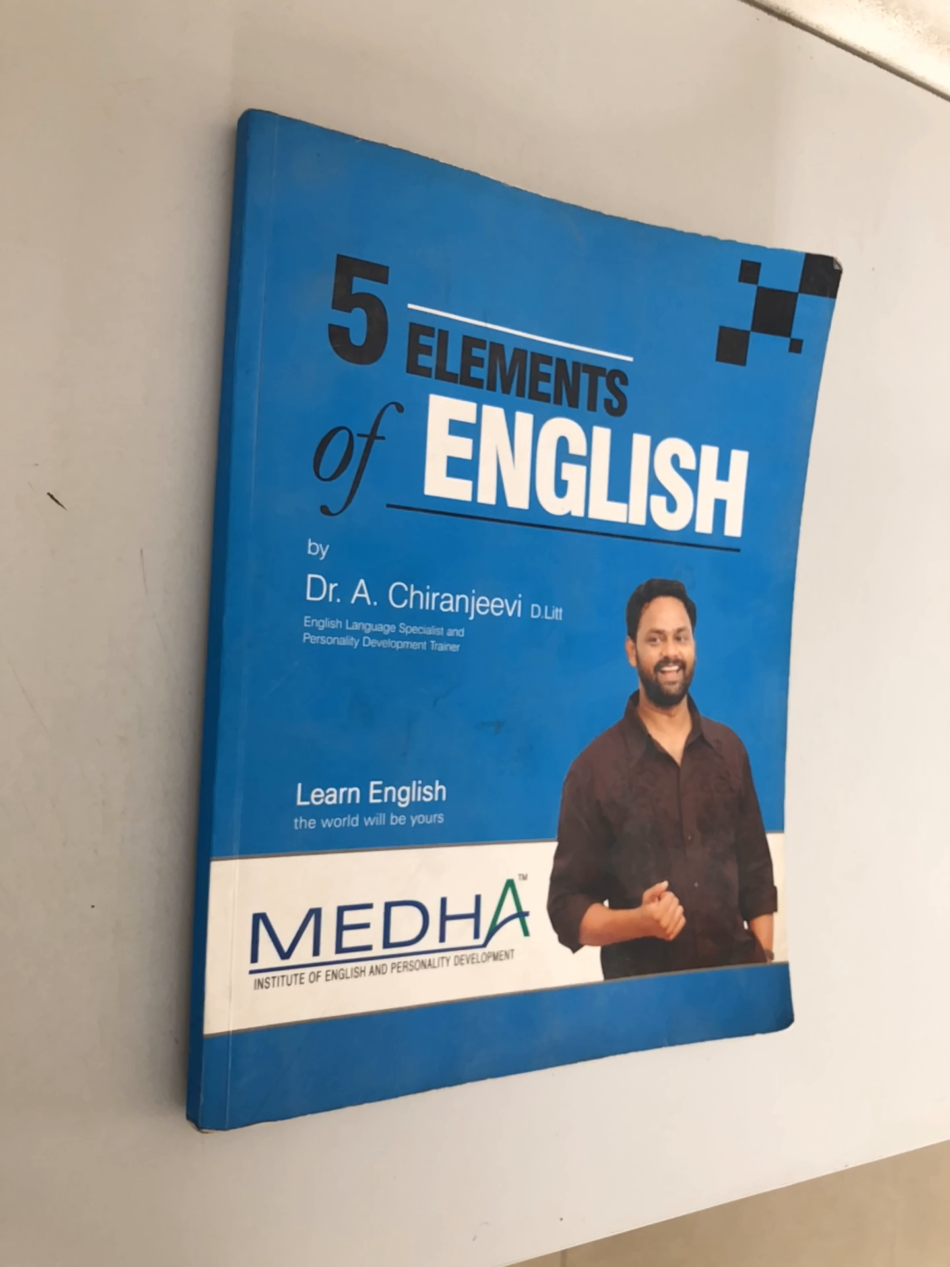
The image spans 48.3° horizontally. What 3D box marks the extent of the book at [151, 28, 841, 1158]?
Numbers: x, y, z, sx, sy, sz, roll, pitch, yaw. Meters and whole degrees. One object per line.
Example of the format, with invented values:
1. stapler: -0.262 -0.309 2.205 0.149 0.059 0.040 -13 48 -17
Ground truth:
1. book: 0.018 -0.006 0.260 0.181 0.020 0.220 3 88 -30
